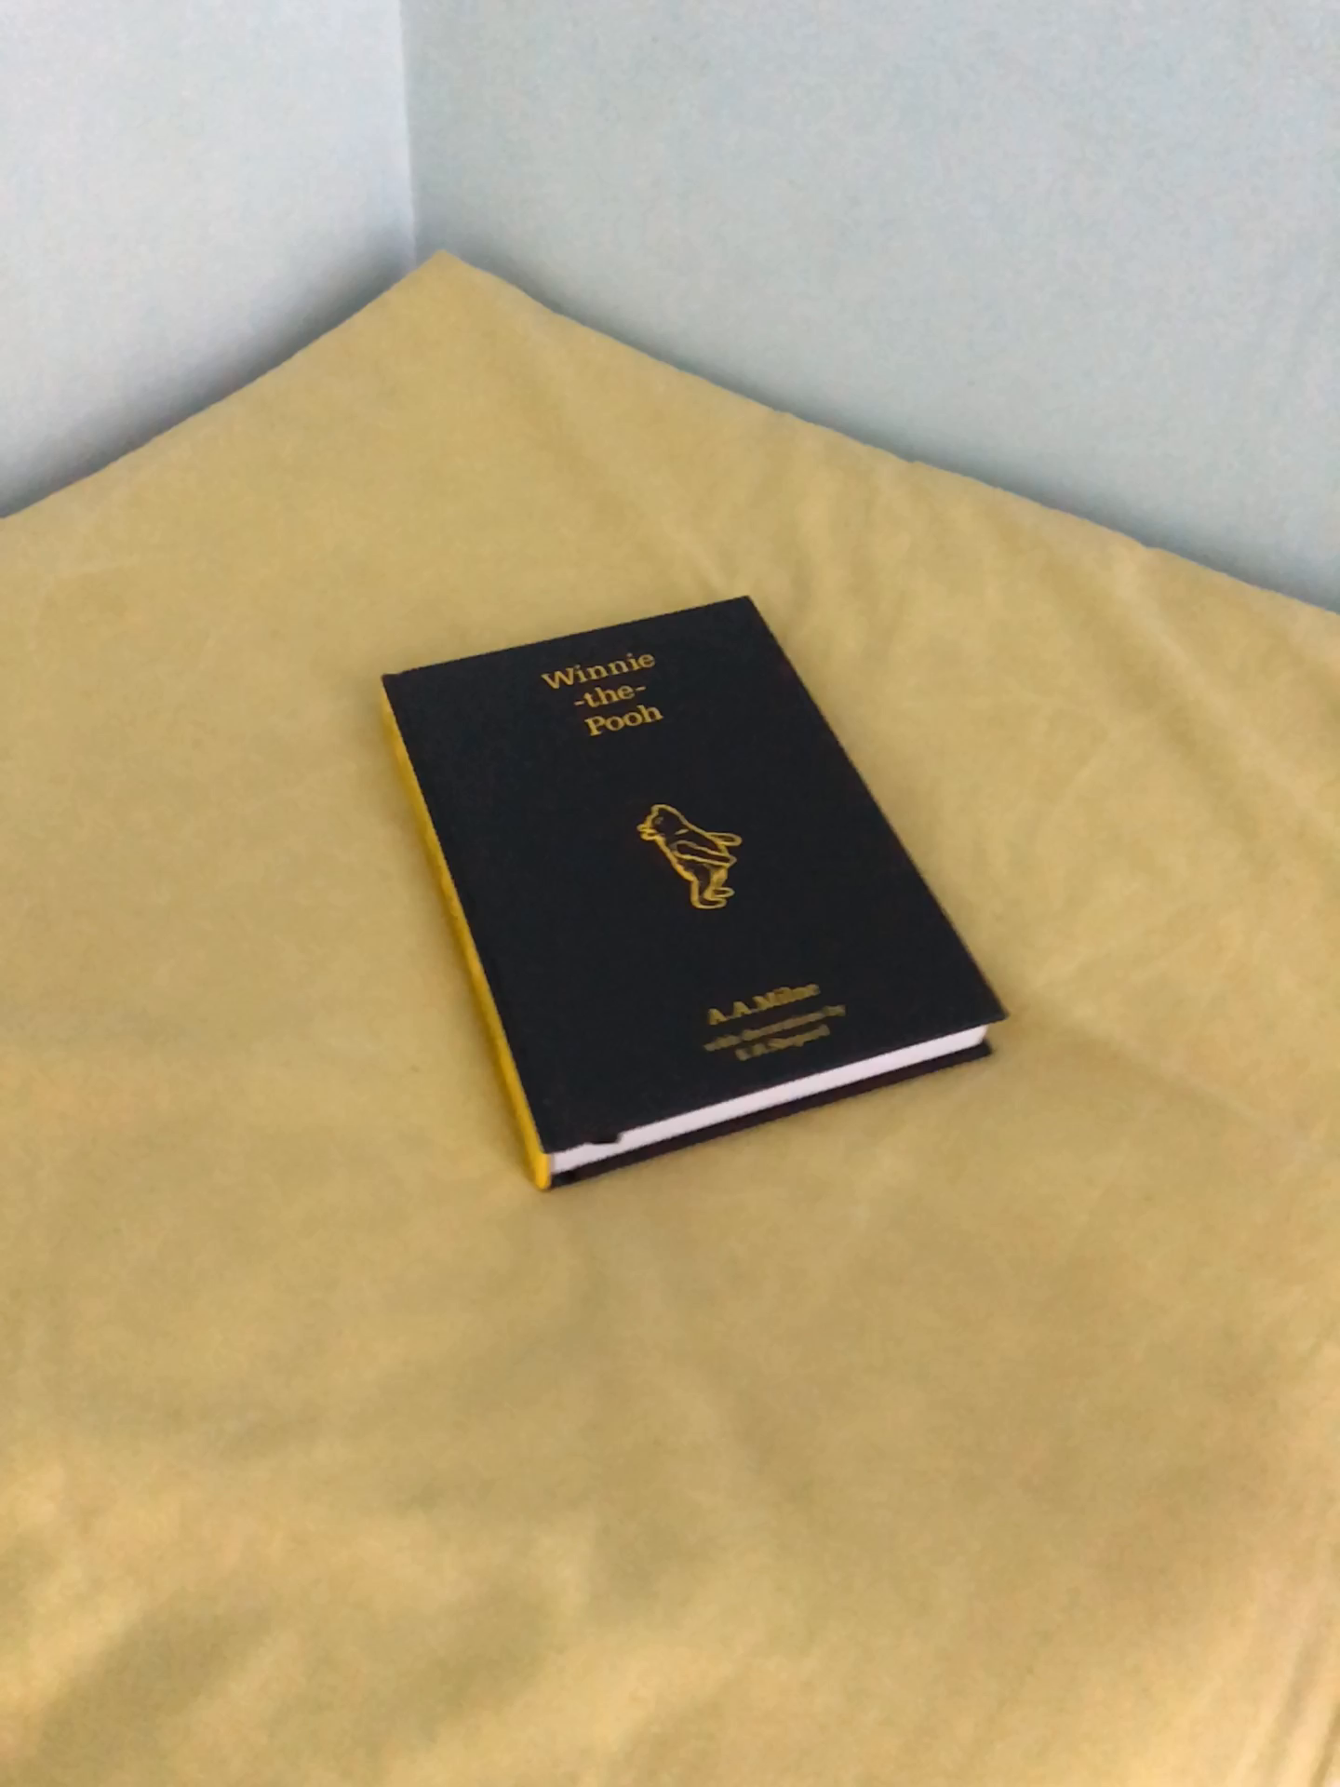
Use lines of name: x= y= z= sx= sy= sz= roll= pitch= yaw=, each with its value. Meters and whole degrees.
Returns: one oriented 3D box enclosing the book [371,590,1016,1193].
book: x=-0.003 y=-0.017 z=0.505 sx=0.150 sy=0.020 sz=0.221 roll=-14 pitch=51 yaw=-14
